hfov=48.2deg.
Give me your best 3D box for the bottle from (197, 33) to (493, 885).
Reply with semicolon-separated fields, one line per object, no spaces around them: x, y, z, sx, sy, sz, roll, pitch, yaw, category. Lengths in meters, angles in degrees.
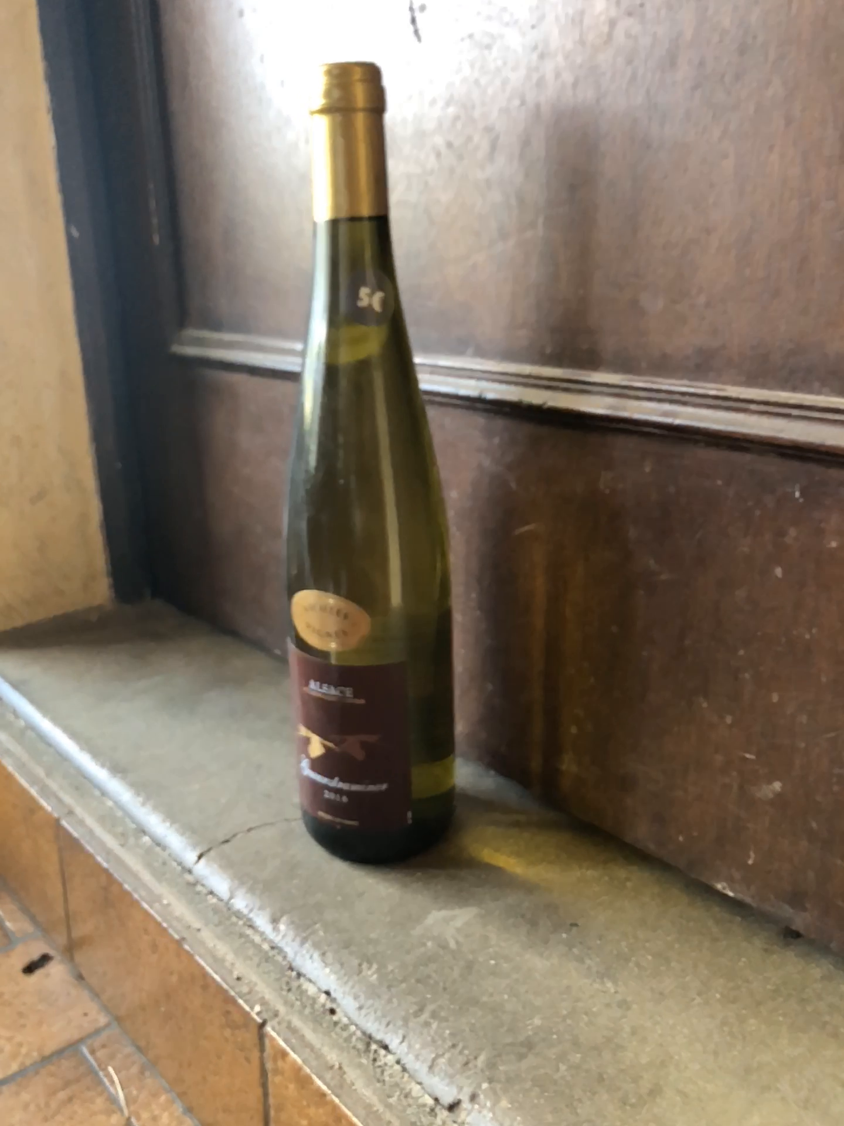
-0.021;-0.032;0.386;0.080;0.309;0.080;-1;18;0;bottle
